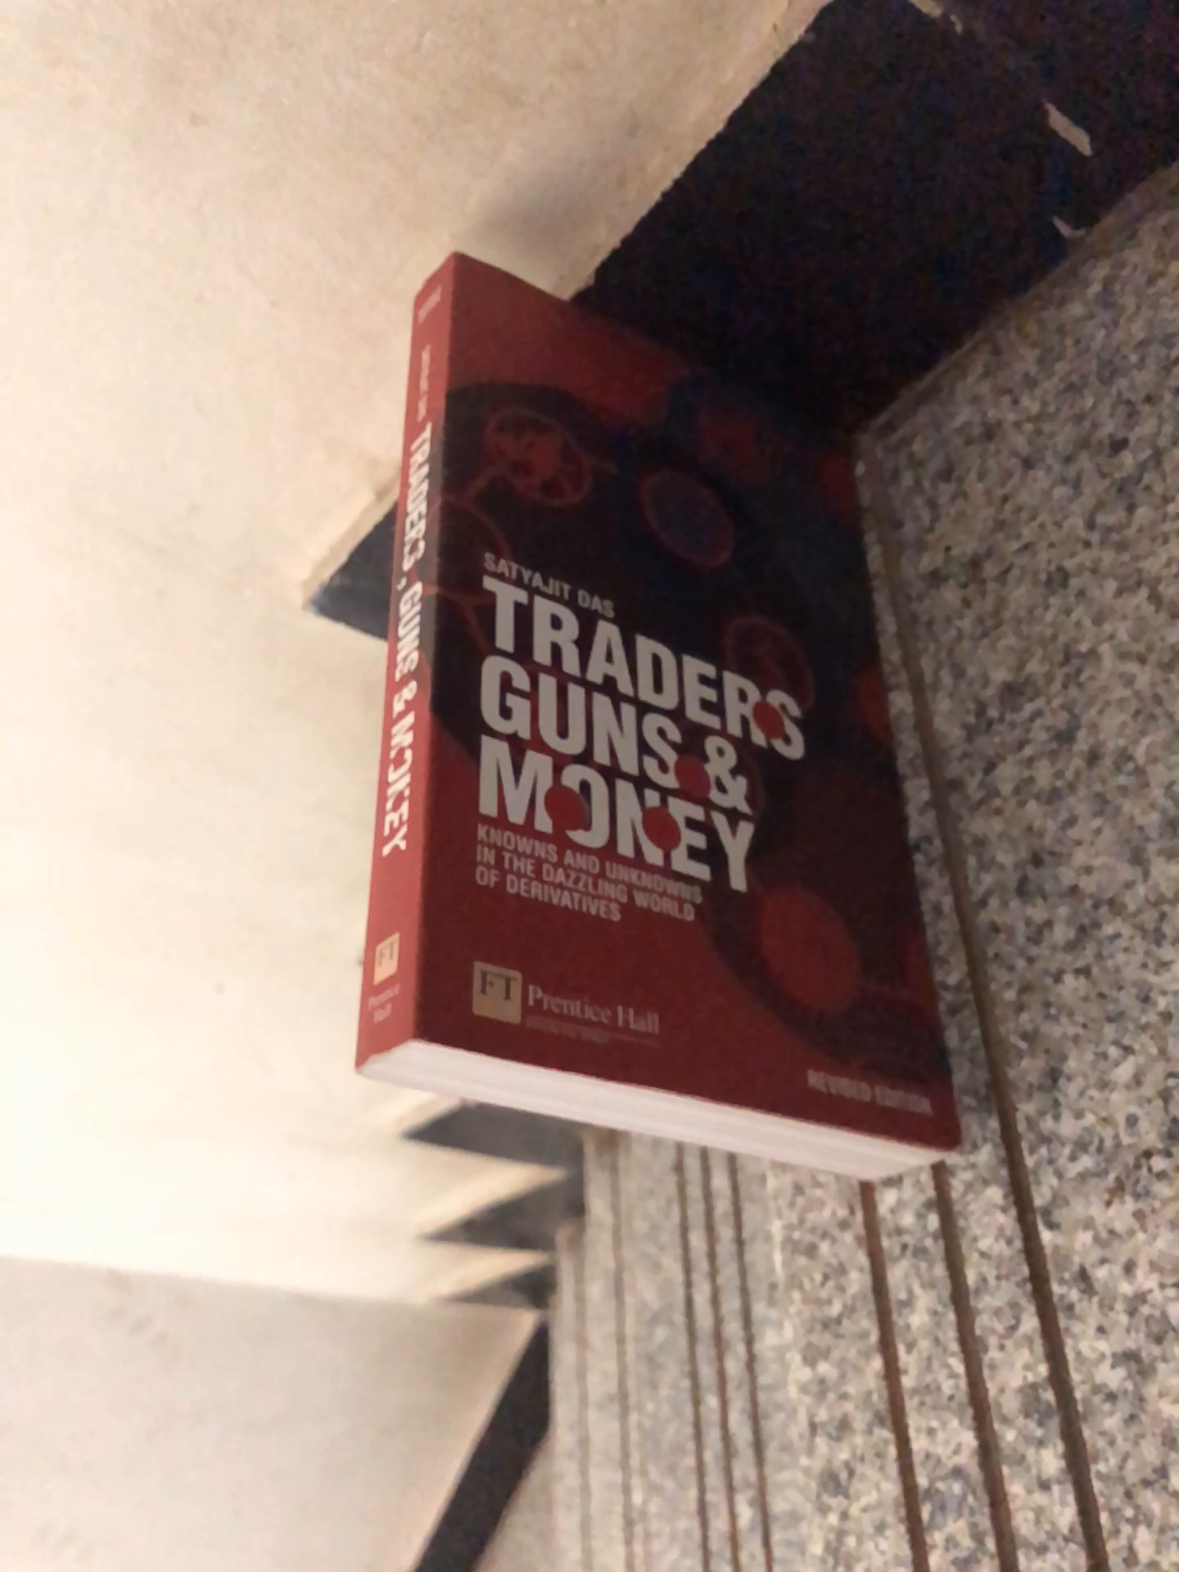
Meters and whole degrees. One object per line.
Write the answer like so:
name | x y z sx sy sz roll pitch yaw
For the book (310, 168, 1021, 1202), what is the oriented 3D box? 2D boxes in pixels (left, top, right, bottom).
book | 0.019 -0.030 0.318 0.030 0.149 0.230 -39 42 45
